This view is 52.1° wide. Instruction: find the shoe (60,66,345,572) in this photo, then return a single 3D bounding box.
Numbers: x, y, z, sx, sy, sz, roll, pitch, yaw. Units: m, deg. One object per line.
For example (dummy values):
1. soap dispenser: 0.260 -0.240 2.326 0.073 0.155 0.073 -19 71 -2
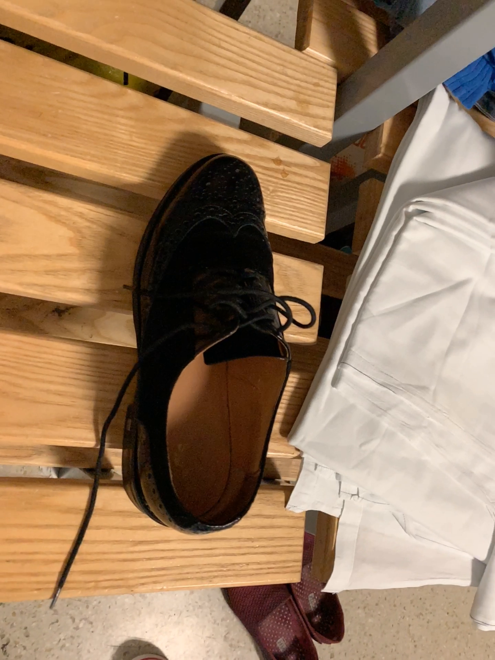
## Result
1. shoe: -0.027 -0.003 0.308 0.099 0.095 0.250 15 77 -24
